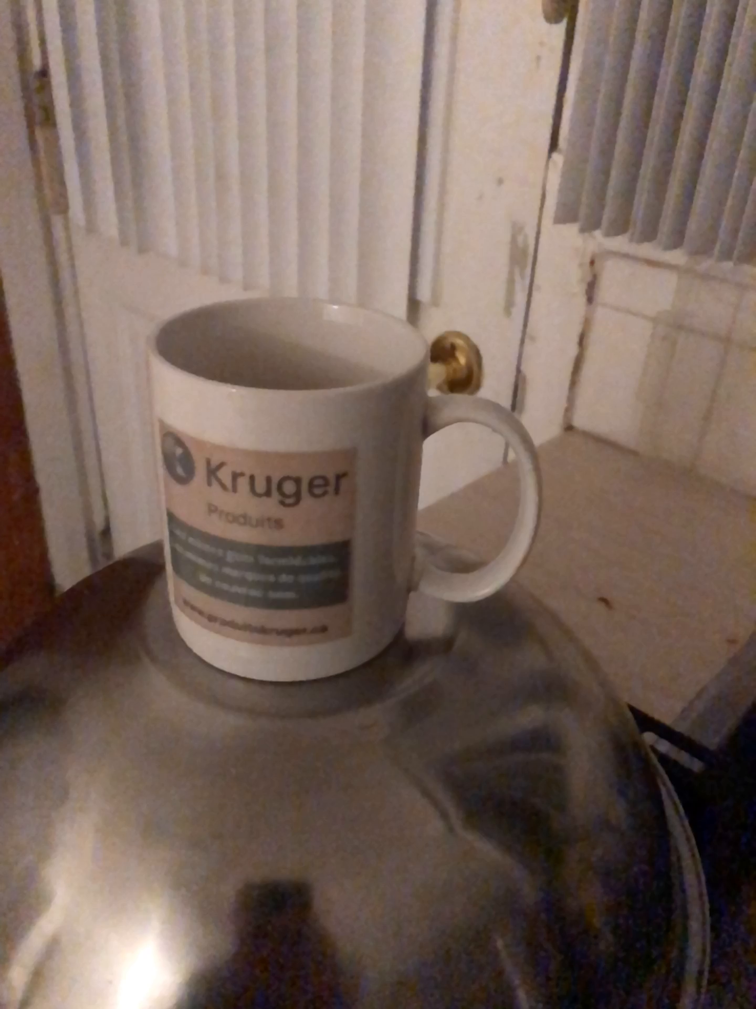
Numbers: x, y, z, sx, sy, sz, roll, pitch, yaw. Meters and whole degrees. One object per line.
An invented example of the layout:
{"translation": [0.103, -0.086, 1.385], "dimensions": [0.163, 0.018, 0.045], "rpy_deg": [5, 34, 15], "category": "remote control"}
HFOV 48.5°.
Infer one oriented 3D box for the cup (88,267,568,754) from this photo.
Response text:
{"translation": [-0.009, -0.004, 0.273], "dimensions": [0.120, 0.109, 0.091], "rpy_deg": [9, 31, 10], "category": "cup"}
